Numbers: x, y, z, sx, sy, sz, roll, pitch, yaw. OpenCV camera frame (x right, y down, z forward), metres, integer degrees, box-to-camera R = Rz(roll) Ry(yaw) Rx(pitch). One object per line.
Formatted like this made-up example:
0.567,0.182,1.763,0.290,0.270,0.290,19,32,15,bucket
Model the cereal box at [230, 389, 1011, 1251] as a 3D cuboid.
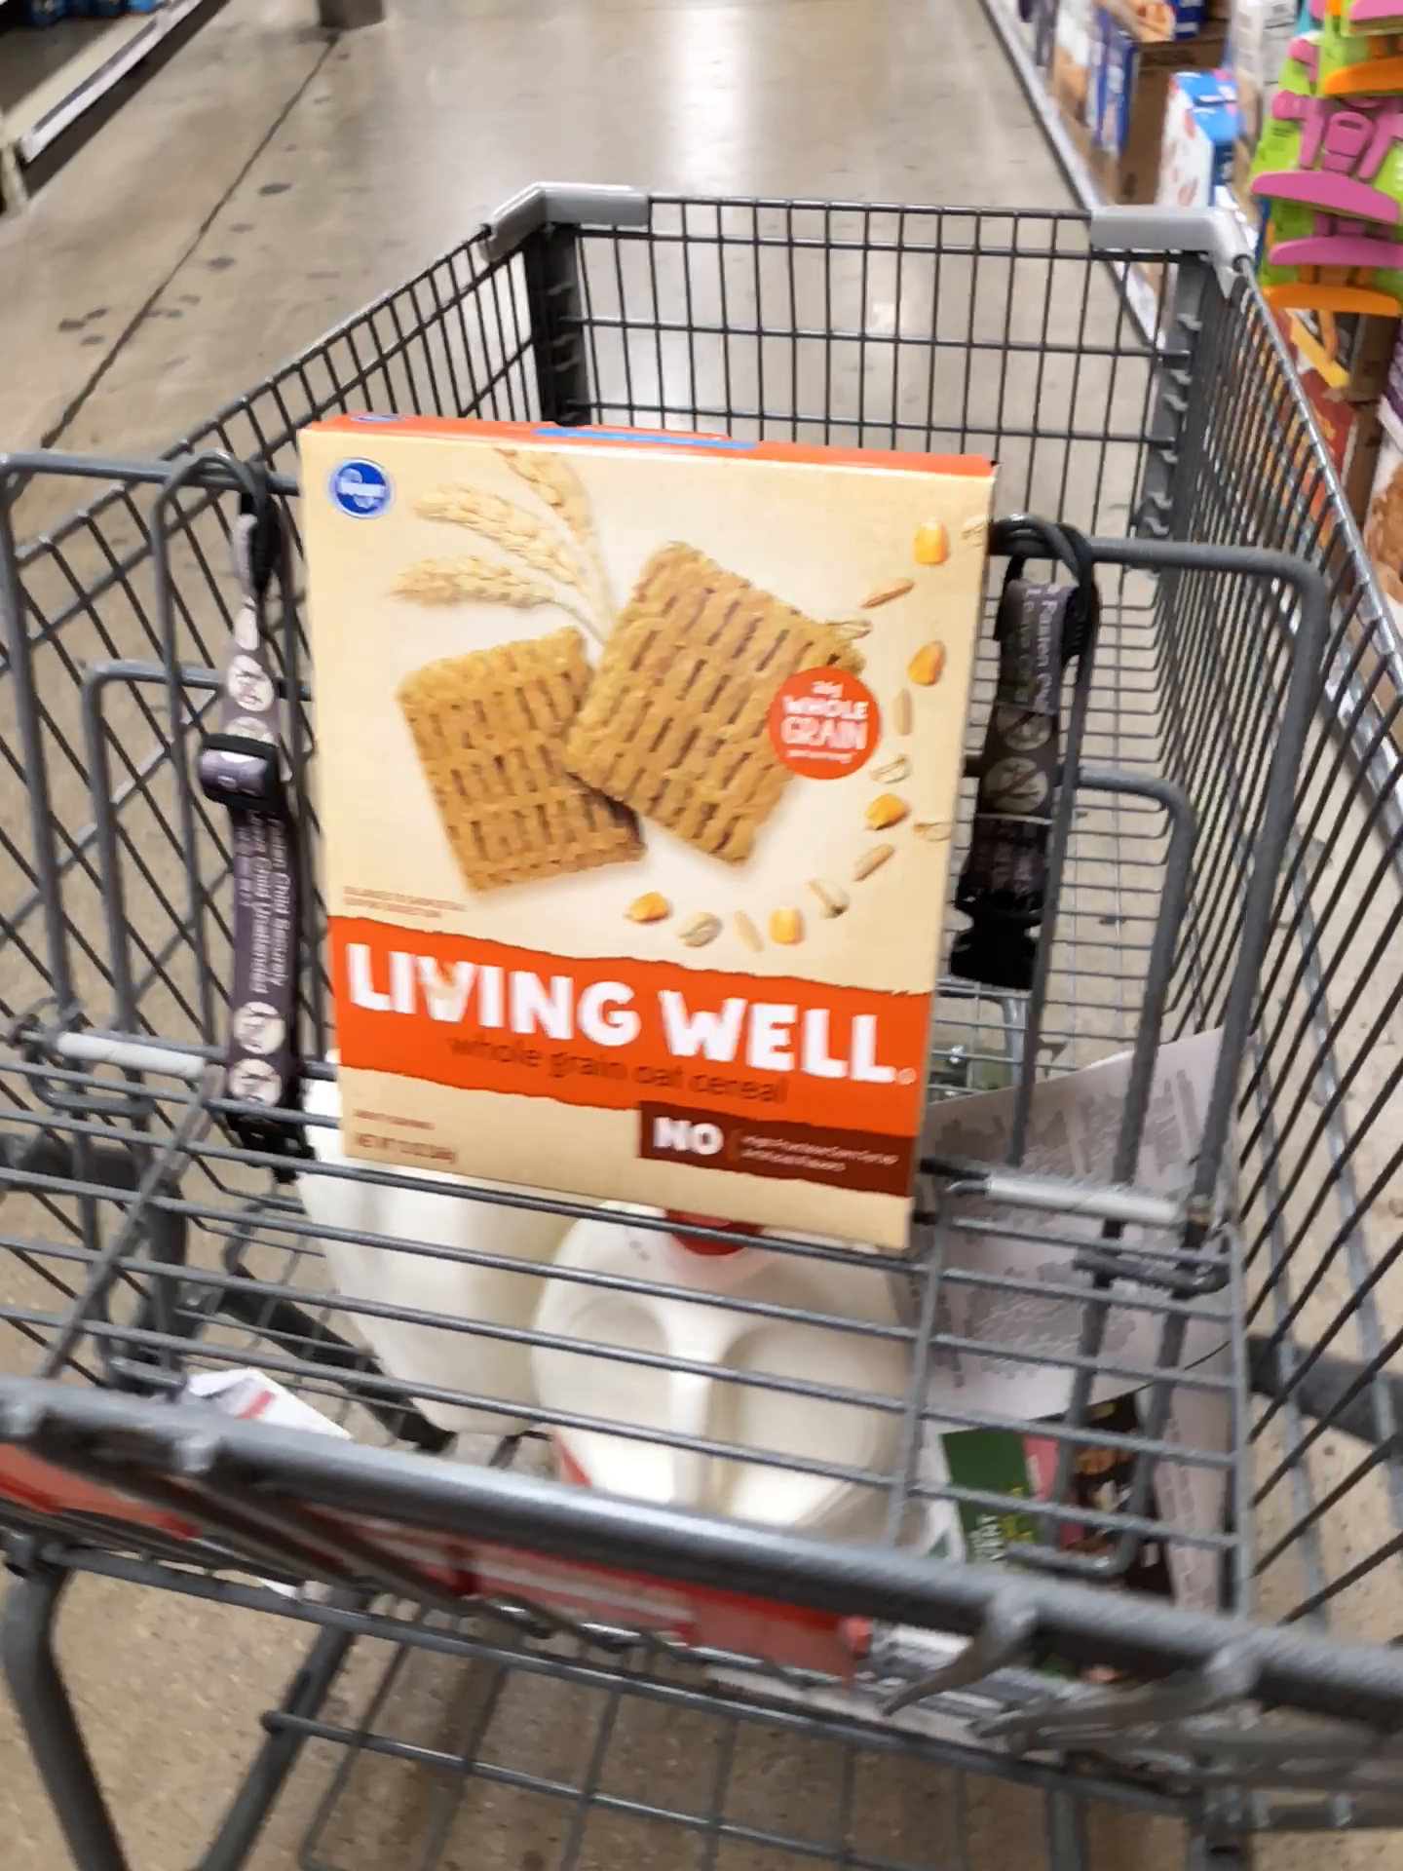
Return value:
-0.026,-0.036,0.484,0.210,0.240,0.060,8,25,12,cereal box
